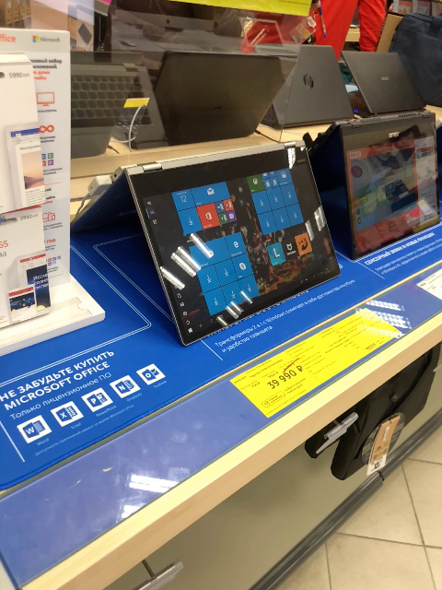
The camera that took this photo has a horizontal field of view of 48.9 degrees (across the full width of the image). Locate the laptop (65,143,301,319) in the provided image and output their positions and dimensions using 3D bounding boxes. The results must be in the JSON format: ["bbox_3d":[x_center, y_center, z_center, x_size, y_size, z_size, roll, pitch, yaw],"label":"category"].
[{"bbox_3d":[-0.072,-0.103,0.828,0.337,0.150,0.210,-21,16,-37],"label":"laptop"}]
